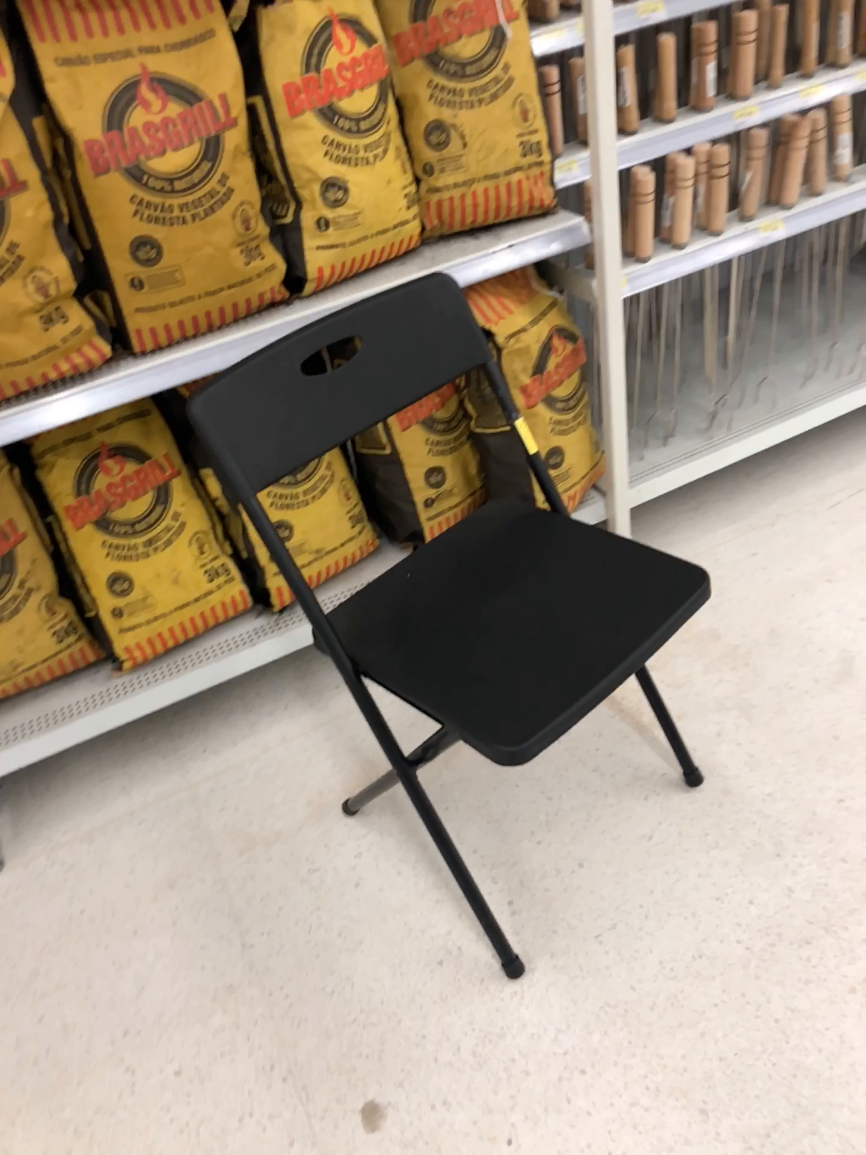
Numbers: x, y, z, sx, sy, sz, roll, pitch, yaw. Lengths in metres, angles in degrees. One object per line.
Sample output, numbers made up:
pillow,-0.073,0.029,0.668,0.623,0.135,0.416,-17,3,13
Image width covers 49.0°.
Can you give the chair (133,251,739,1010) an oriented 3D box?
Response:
chair,0.049,0.048,1.208,0.461,0.714,0.452,-35,43,-29
